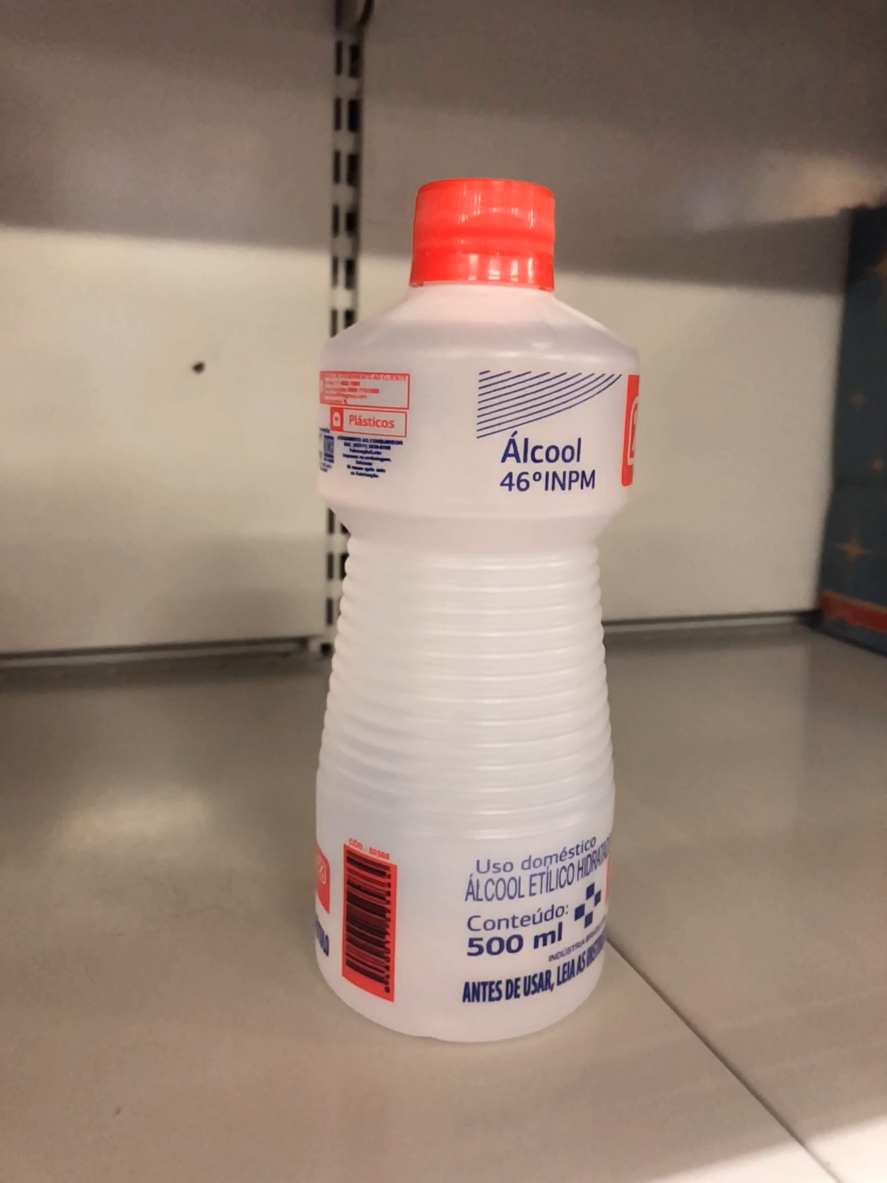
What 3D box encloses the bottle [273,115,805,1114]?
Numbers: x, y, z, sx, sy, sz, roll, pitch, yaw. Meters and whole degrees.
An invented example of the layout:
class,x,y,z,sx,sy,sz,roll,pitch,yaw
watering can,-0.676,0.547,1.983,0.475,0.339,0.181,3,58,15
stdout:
class,x,y,z,sx,sy,sz,roll,pitch,yaw
bottle,0.015,0.001,0.228,0.080,0.179,0.080,1,12,0
